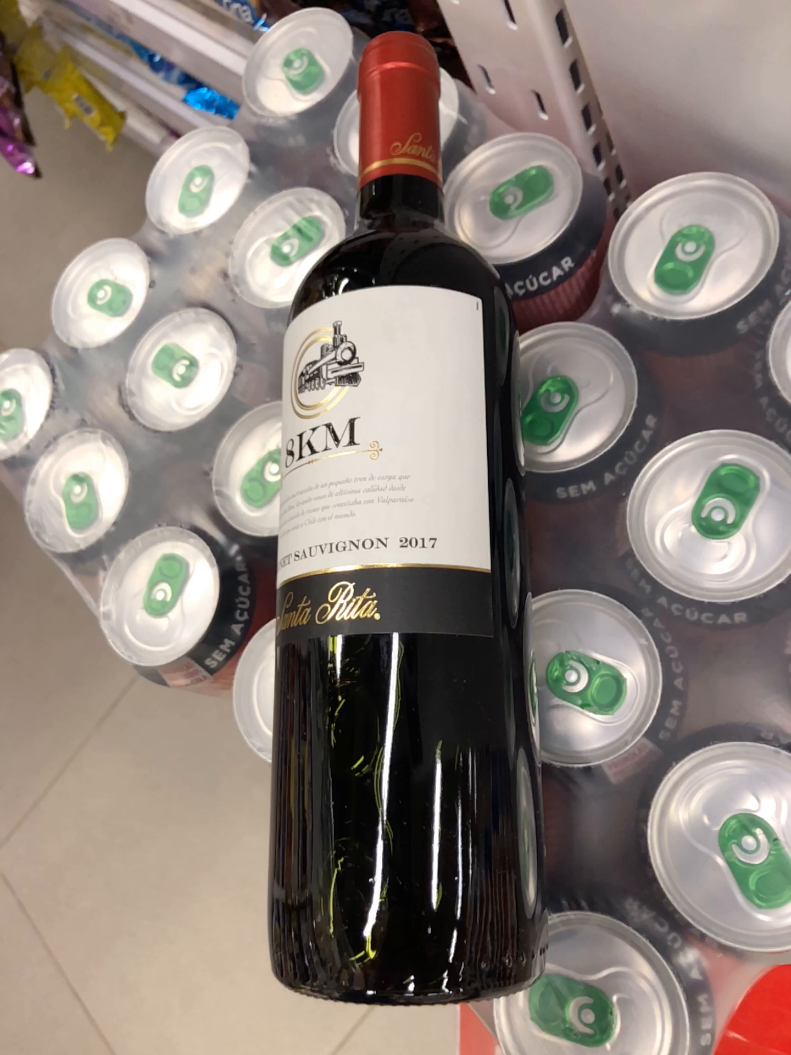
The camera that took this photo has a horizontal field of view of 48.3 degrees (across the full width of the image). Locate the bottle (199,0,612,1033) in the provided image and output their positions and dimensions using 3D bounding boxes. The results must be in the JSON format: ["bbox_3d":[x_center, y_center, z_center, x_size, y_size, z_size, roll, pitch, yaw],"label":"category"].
[{"bbox_3d":[0.000,-0.042,0.262,0.080,0.070,0.321,-9,71,21],"label":"bottle"}]
